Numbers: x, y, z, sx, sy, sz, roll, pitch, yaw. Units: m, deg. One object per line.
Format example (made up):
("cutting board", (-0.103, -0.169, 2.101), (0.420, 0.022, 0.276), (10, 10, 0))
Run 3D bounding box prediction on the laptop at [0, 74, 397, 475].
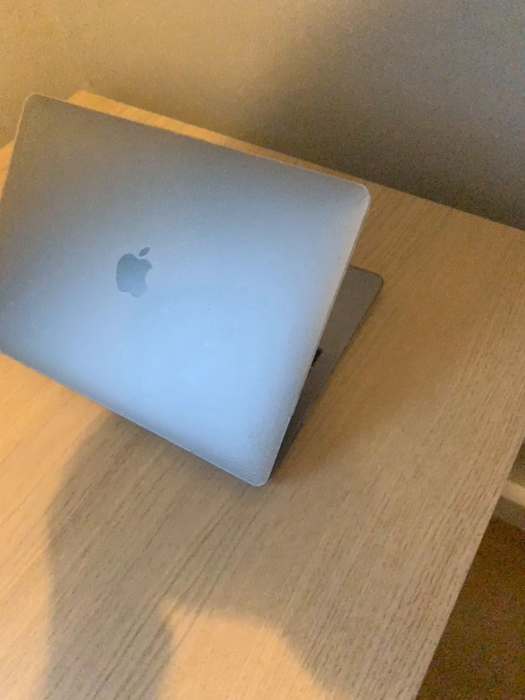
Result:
("laptop", (-0.084, -0.080, 0.428), (0.309, 0.127, 0.207), (22, 59, 21))
